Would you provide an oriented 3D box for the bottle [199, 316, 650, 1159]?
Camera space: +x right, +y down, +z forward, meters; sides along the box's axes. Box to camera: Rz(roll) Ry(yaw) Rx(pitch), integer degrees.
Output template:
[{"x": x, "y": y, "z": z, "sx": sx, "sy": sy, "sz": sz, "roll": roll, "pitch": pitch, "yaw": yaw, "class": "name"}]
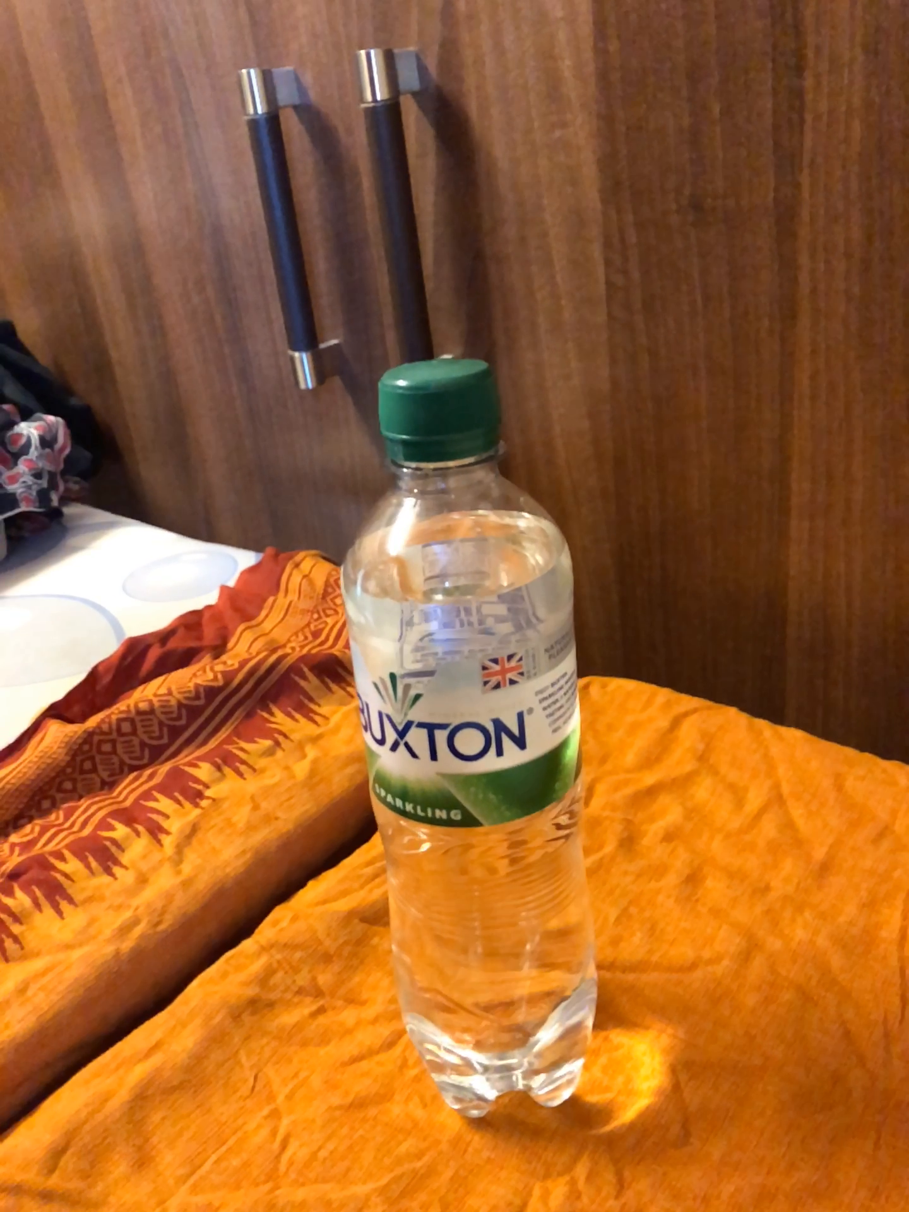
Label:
[{"x": 0.003, "y": 0.039, "z": 0.284, "sx": 0.070, "sy": 0.218, "sz": 0.070, "roll": -6, "pitch": 27, "yaw": 3, "class": "bottle"}]
